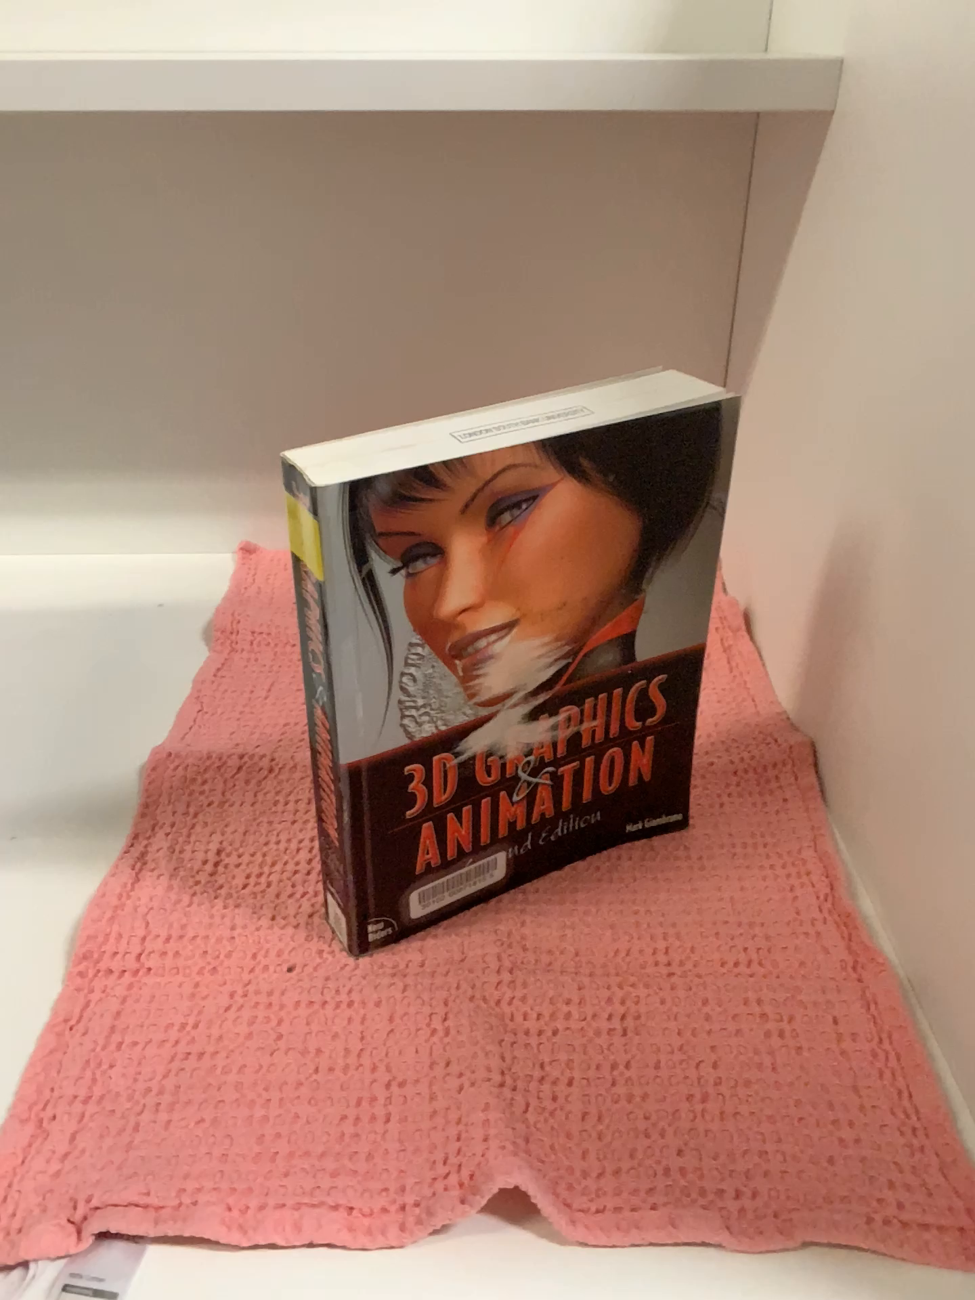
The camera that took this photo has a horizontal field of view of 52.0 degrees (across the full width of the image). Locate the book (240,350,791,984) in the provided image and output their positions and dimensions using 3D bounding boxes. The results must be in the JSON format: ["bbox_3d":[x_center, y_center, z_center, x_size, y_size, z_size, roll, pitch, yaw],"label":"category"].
[{"bbox_3d":[0.017,0.003,0.449,0.221,0.228,0.060,-19,38,-29],"label":"book"}]
